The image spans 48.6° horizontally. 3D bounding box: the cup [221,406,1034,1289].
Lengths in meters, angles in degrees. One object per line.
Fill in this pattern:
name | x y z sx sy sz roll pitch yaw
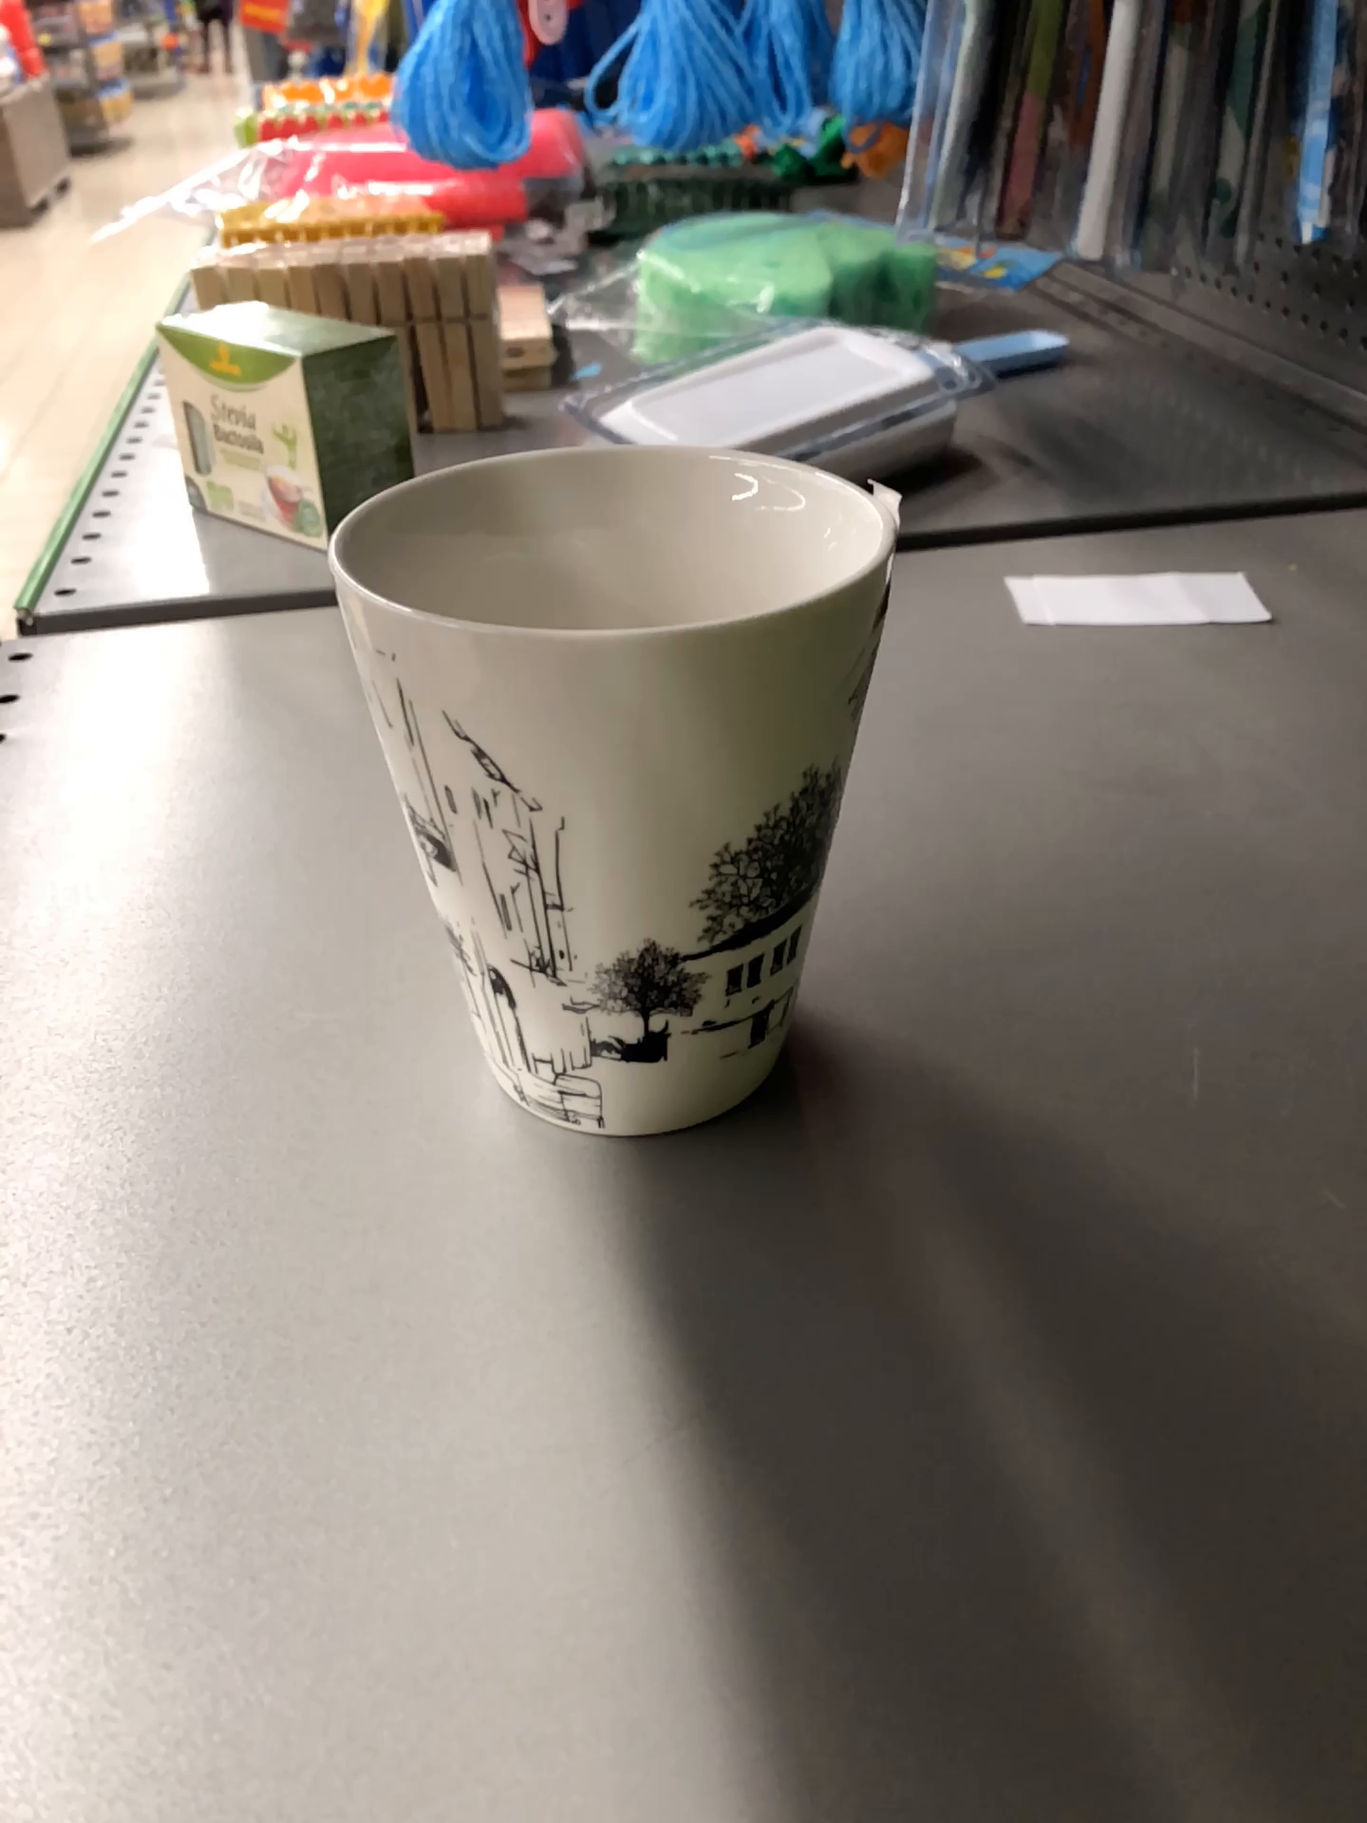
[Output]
cup | -0.015 -0.022 0.266 0.091 0.098 0.115 -15 32 -21
